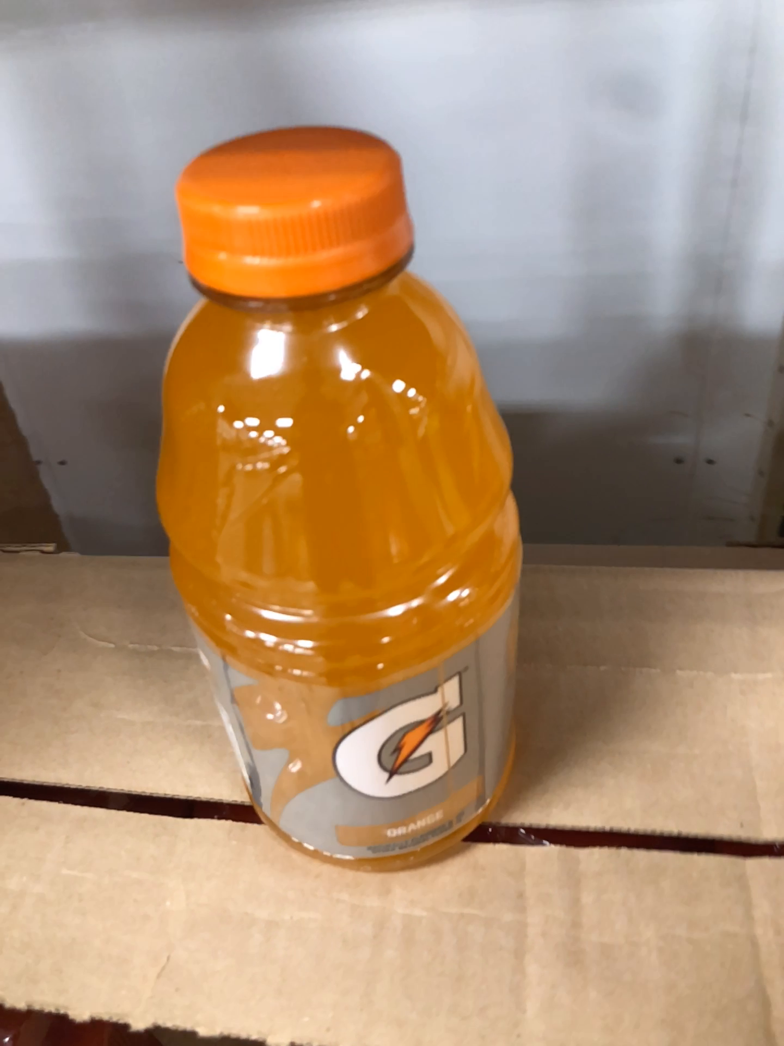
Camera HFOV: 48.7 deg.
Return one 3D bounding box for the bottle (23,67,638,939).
[{"bbox_3d":[-0.012,-0.001,0.222,0.092,0.180,0.100,-5,38,4],"label":"bottle"}]
